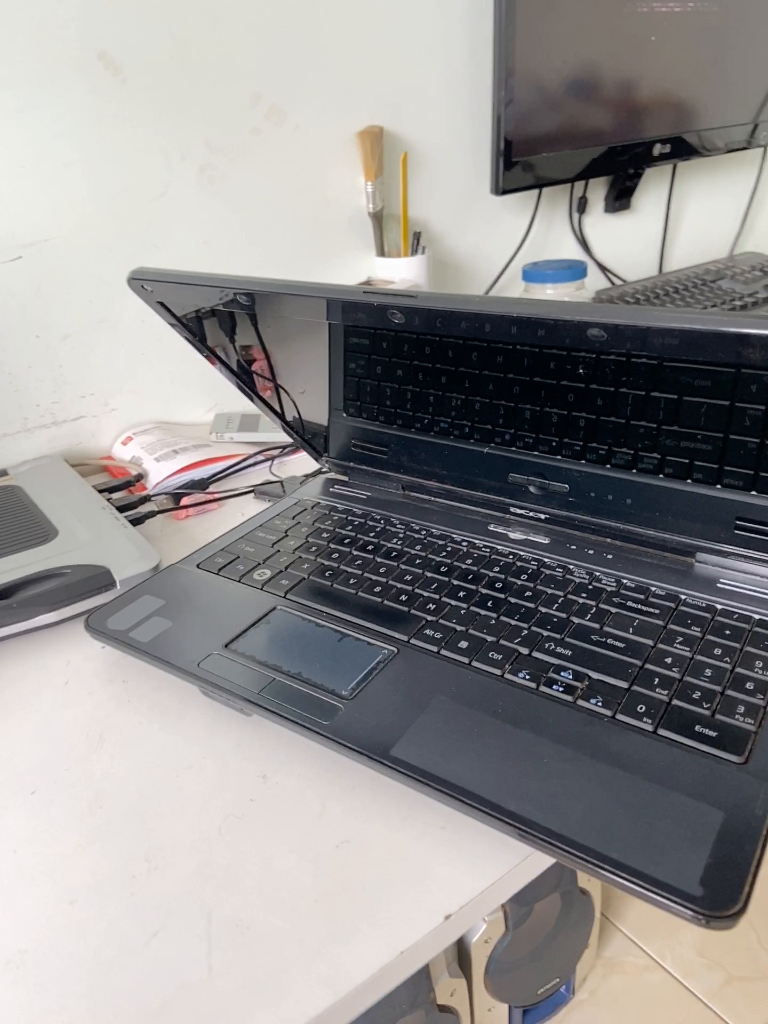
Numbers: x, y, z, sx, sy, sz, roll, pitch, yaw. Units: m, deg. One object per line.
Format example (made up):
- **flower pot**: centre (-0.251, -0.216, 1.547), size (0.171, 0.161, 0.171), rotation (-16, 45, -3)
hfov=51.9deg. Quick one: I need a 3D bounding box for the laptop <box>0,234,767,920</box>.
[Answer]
- **laptop**: centre (0.030, -0.026, 0.415), size (0.366, 0.183, 0.233), rotation (14, 33, 32)
